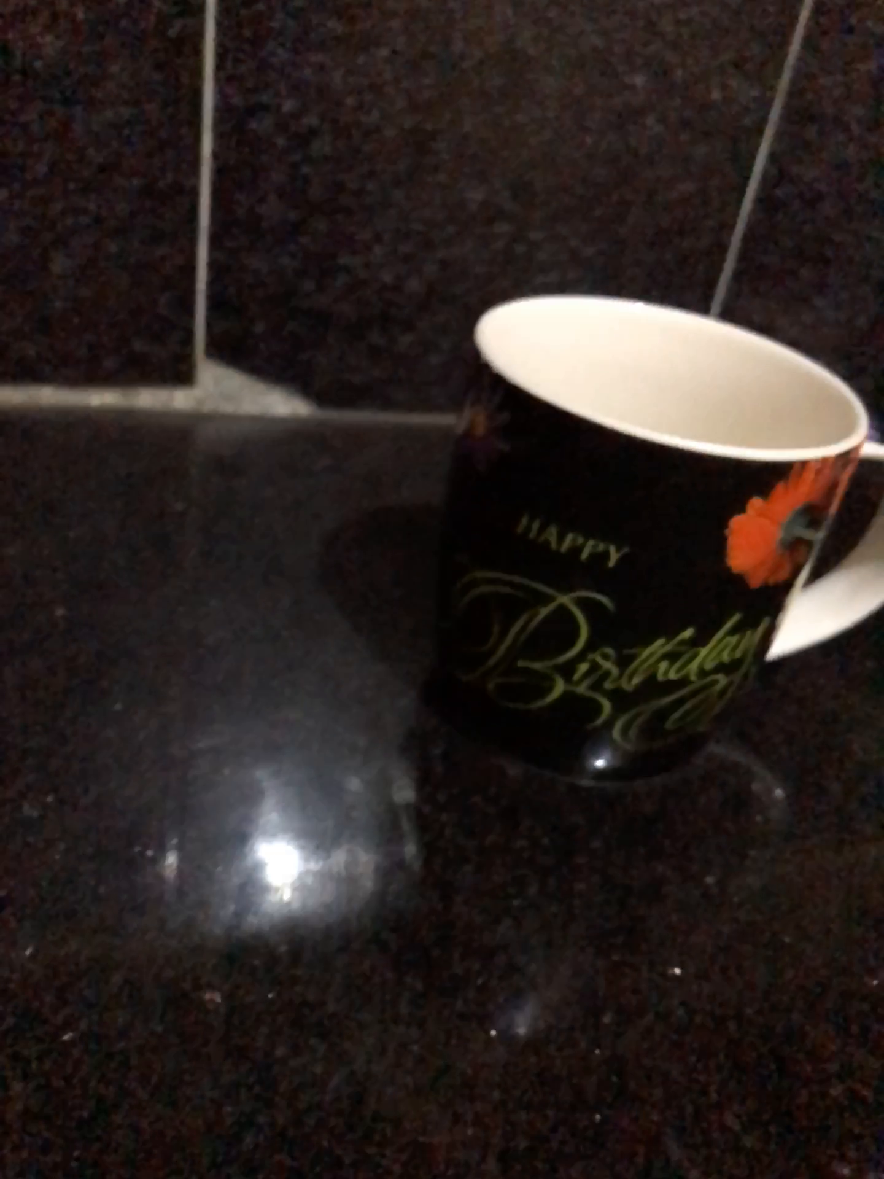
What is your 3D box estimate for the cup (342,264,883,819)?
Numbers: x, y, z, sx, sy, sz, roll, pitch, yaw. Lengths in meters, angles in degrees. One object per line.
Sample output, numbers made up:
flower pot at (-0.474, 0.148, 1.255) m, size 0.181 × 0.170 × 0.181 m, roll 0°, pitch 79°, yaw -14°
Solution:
cup at (0.052, -0.013, 0.241) m, size 0.130 × 0.089 × 0.090 m, roll 1°, pitch 34°, yaw -16°
